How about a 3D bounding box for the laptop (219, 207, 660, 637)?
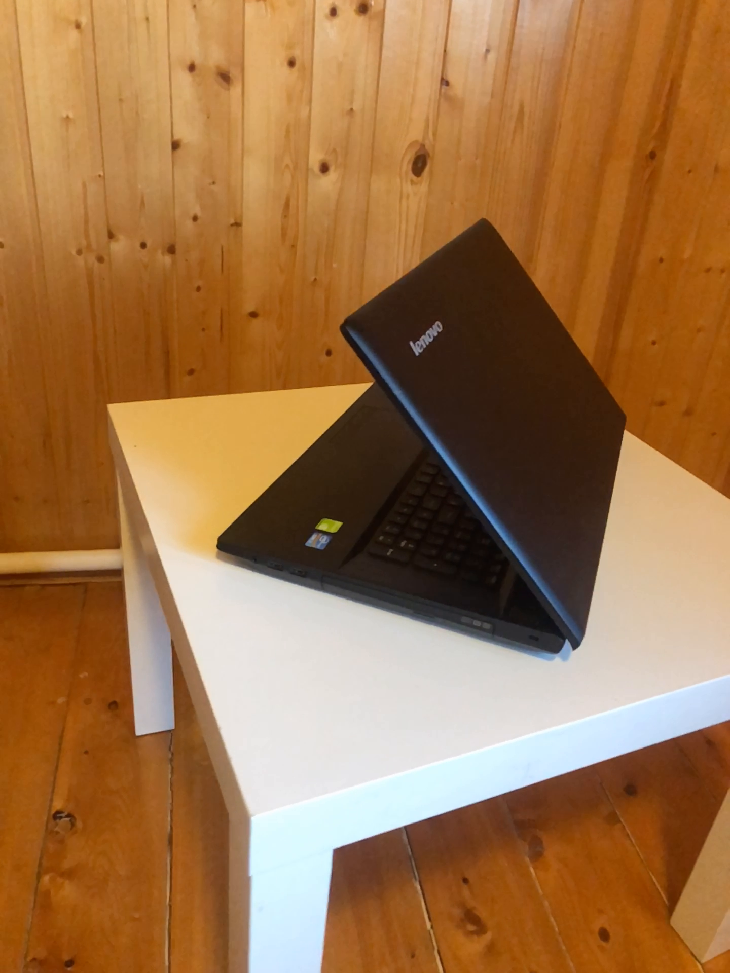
[{"bbox_3d":[0.087,-0.097,0.692,0.260,0.179,0.391,14,31,16],"label":"laptop"}]
